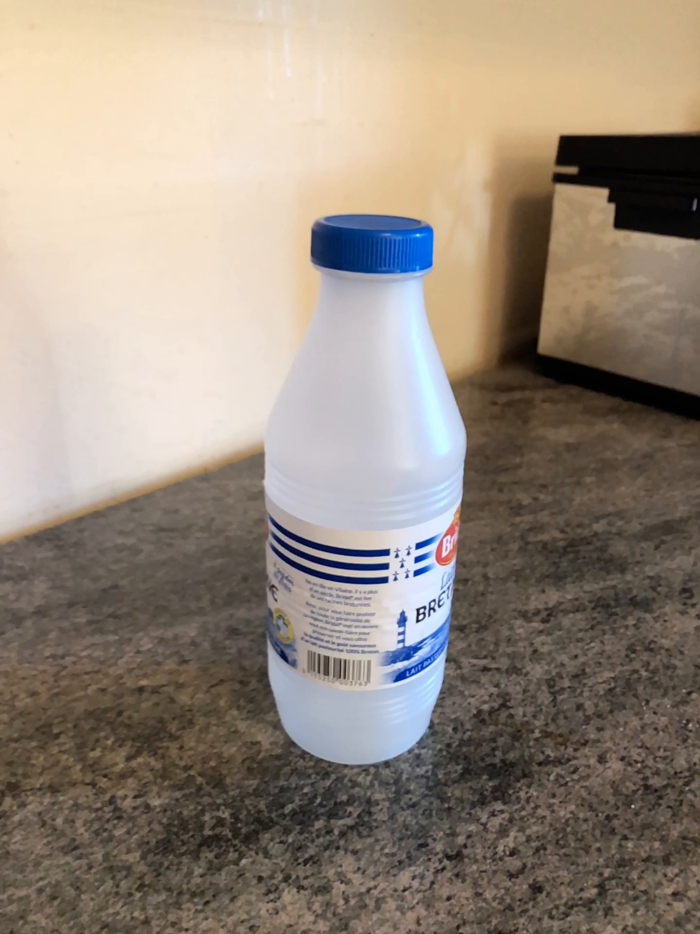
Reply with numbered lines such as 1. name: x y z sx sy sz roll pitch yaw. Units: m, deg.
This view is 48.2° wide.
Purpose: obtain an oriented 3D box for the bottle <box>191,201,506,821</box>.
1. bottle: 0.003 0.016 0.338 0.090 0.239 0.091 1 23 0
